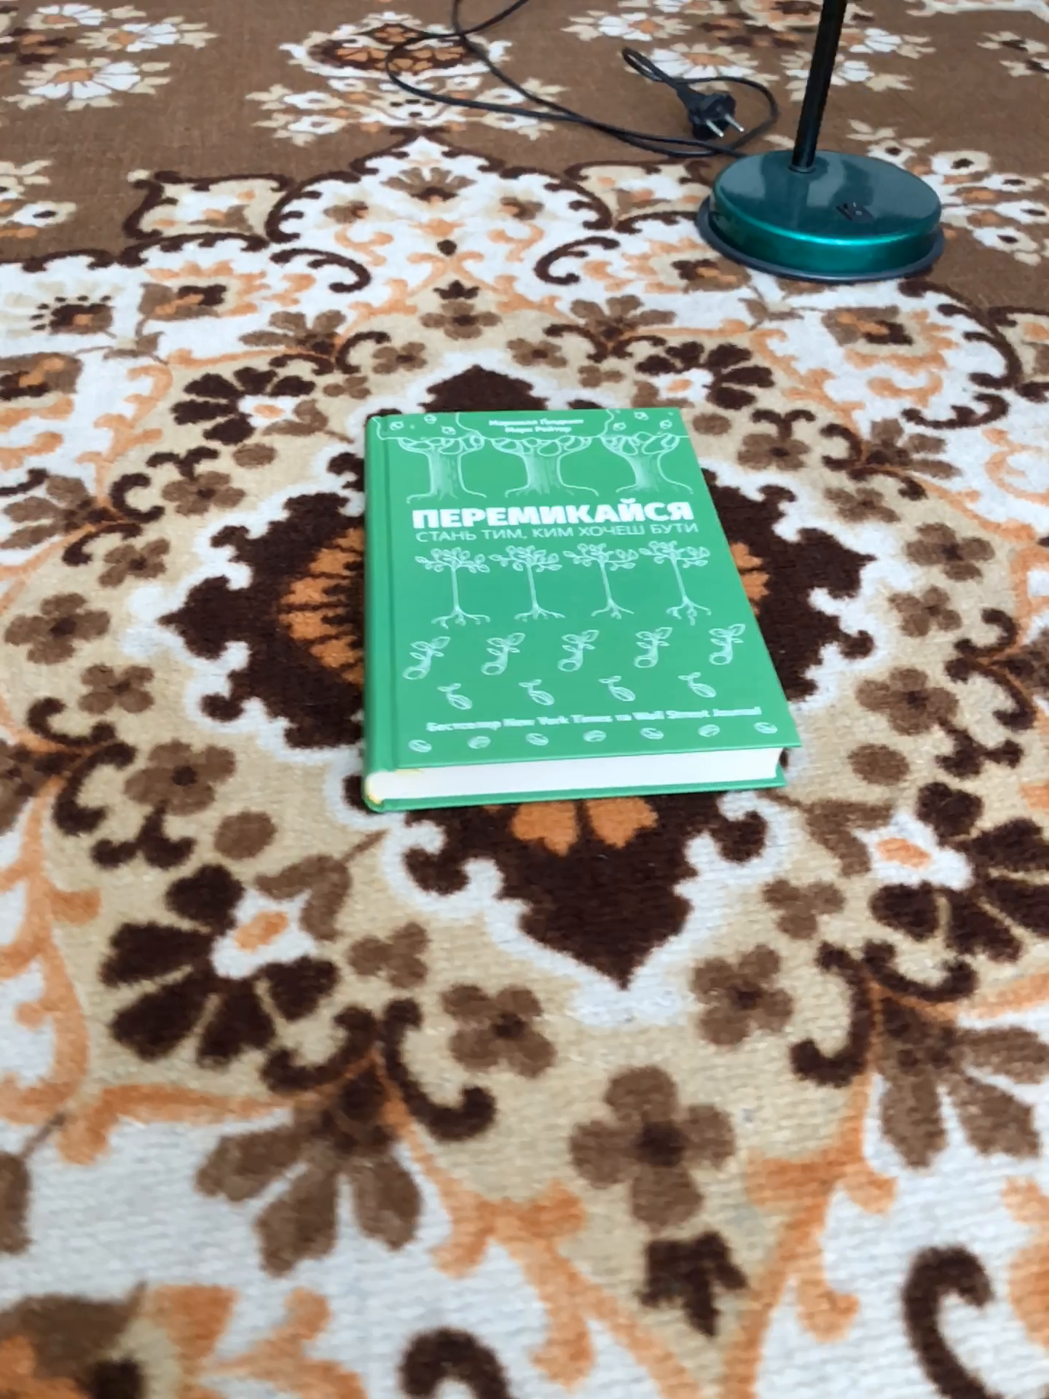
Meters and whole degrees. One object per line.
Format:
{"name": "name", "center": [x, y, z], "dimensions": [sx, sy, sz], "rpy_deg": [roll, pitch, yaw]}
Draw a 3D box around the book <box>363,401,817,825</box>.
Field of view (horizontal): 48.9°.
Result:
{"name": "book", "center": [0.011, -0.045, 0.426], "dimensions": [0.137, 0.023, 0.203], "rpy_deg": [-3, 45, -5]}
